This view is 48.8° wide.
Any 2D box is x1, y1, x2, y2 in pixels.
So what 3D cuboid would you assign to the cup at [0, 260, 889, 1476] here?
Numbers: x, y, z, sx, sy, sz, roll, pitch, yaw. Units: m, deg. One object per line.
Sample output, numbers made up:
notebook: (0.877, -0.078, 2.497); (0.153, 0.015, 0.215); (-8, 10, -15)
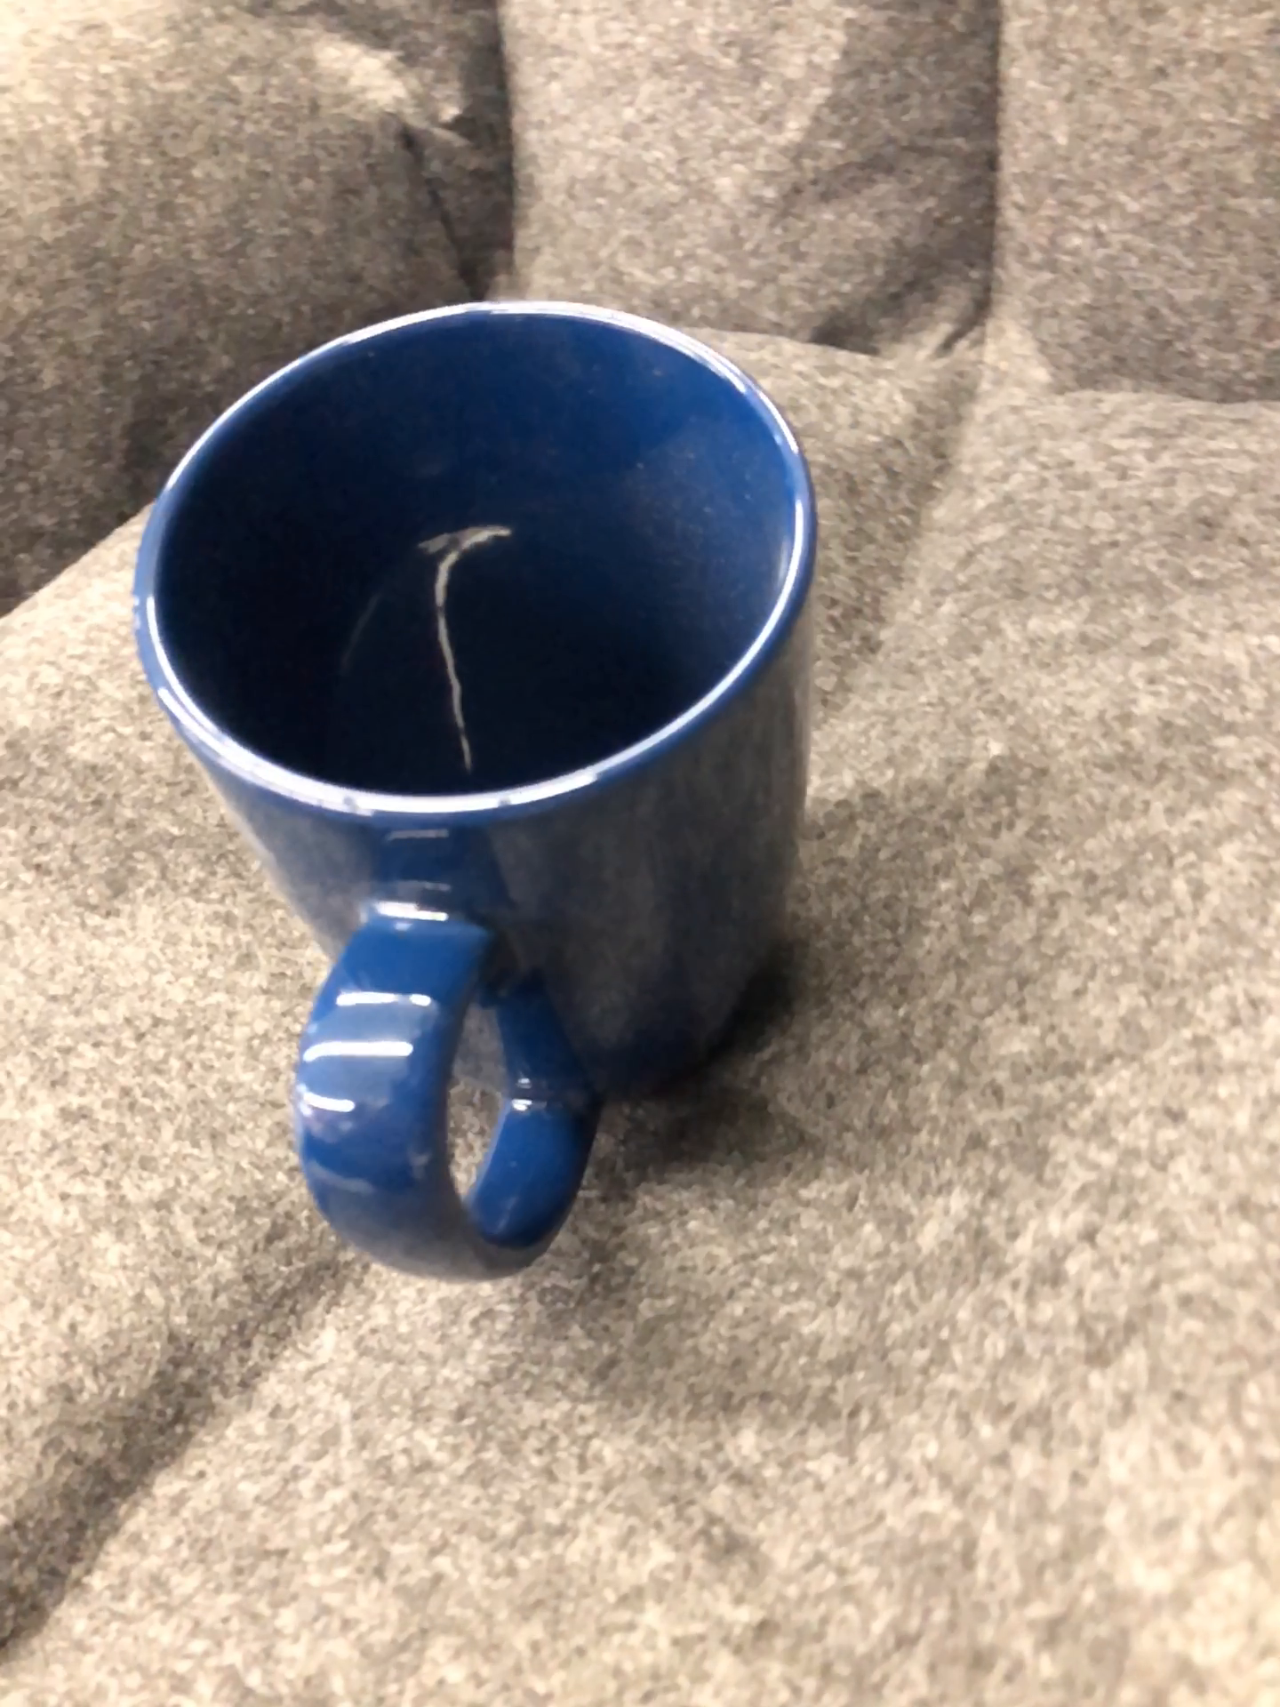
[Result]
cup: (-0.019, 0.001, 0.210); (0.090, 0.109, 0.130); (8, 56, 15)
